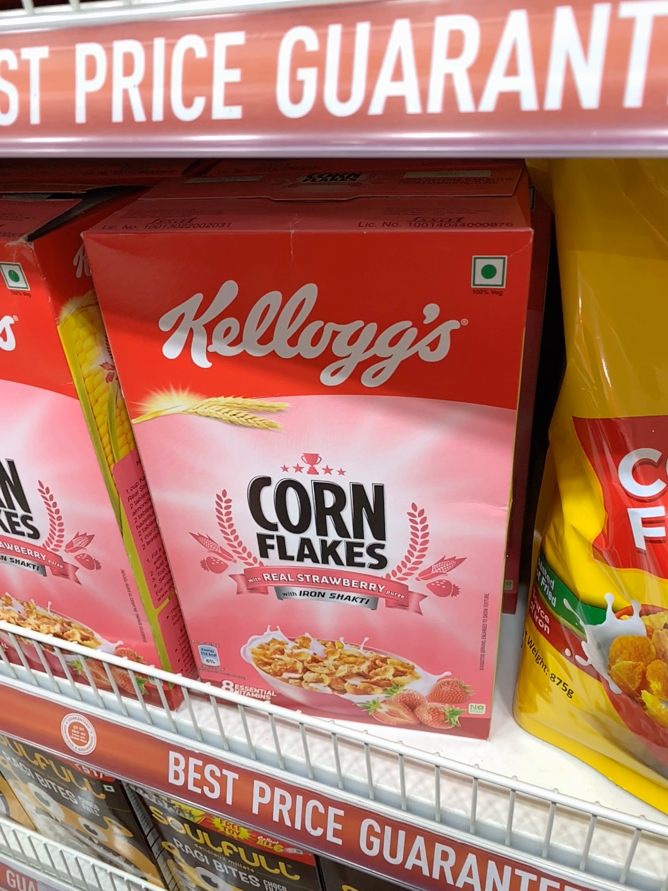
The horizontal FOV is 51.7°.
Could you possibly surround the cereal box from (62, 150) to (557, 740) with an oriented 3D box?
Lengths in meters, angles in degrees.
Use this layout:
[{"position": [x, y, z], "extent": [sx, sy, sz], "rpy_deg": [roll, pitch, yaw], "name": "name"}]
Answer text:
[{"position": [0.005, 0.011, 0.338], "extent": [0.170, 0.268, 0.091], "rpy_deg": [2, 33, 12], "name": "cereal box"}]
